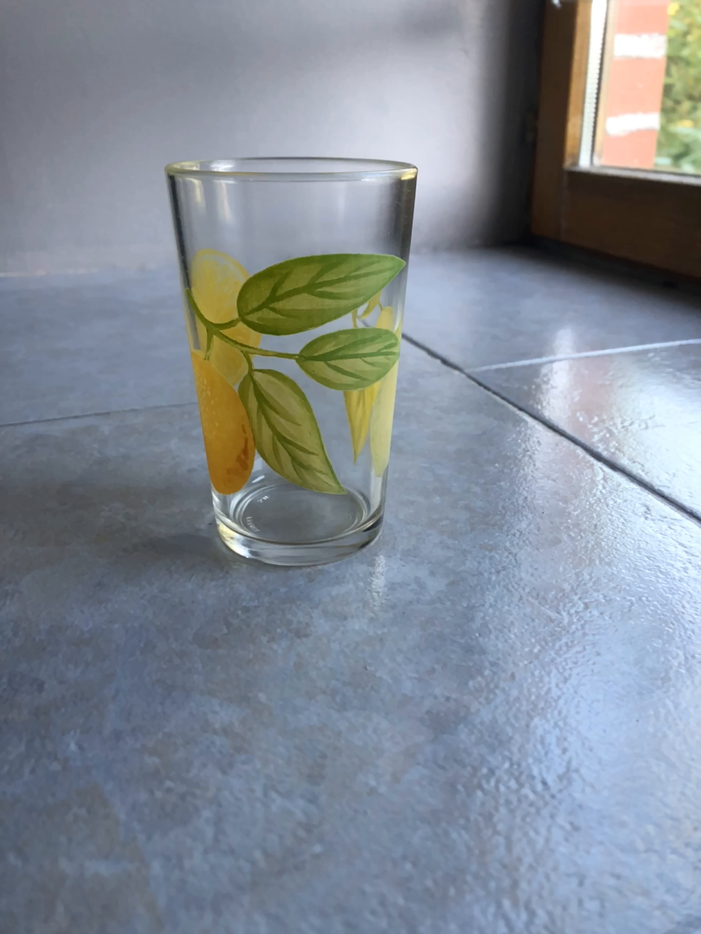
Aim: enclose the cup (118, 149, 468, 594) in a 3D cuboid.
[{"bbox_3d":[-0.013,-0.035,0.241,0.069,0.112,0.070,-2,25,1],"label":"cup"}]
